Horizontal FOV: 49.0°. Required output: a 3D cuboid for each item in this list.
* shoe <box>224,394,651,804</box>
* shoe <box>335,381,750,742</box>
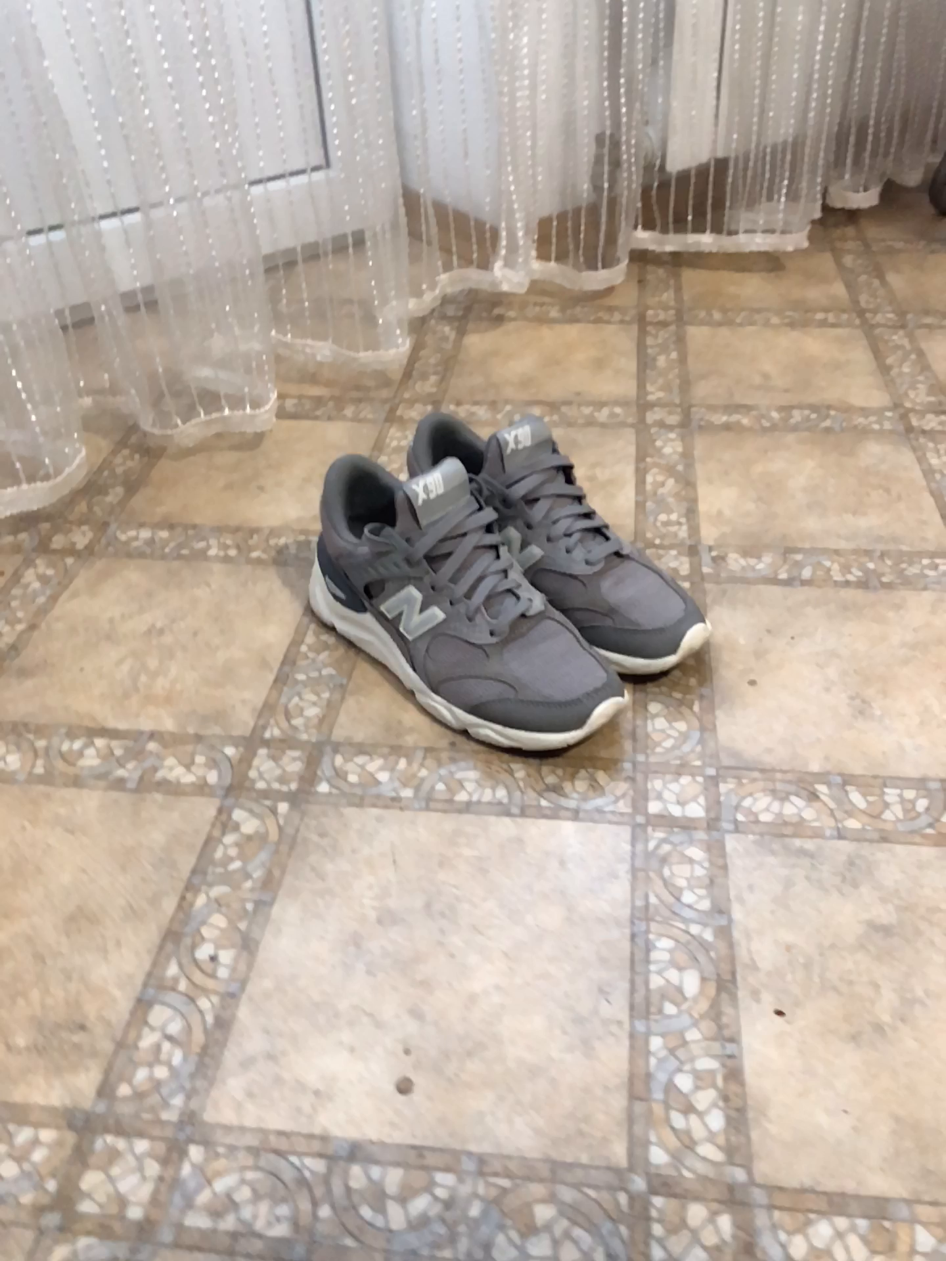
[{"bbox_3d":[-0.030,-0.034,0.638,0.100,0.119,0.271,-29,44,-30],"label":"shoe"},{"bbox_3d":[0.036,-0.059,0.701,0.100,0.119,0.271,-31,46,-32],"label":"shoe"}]
